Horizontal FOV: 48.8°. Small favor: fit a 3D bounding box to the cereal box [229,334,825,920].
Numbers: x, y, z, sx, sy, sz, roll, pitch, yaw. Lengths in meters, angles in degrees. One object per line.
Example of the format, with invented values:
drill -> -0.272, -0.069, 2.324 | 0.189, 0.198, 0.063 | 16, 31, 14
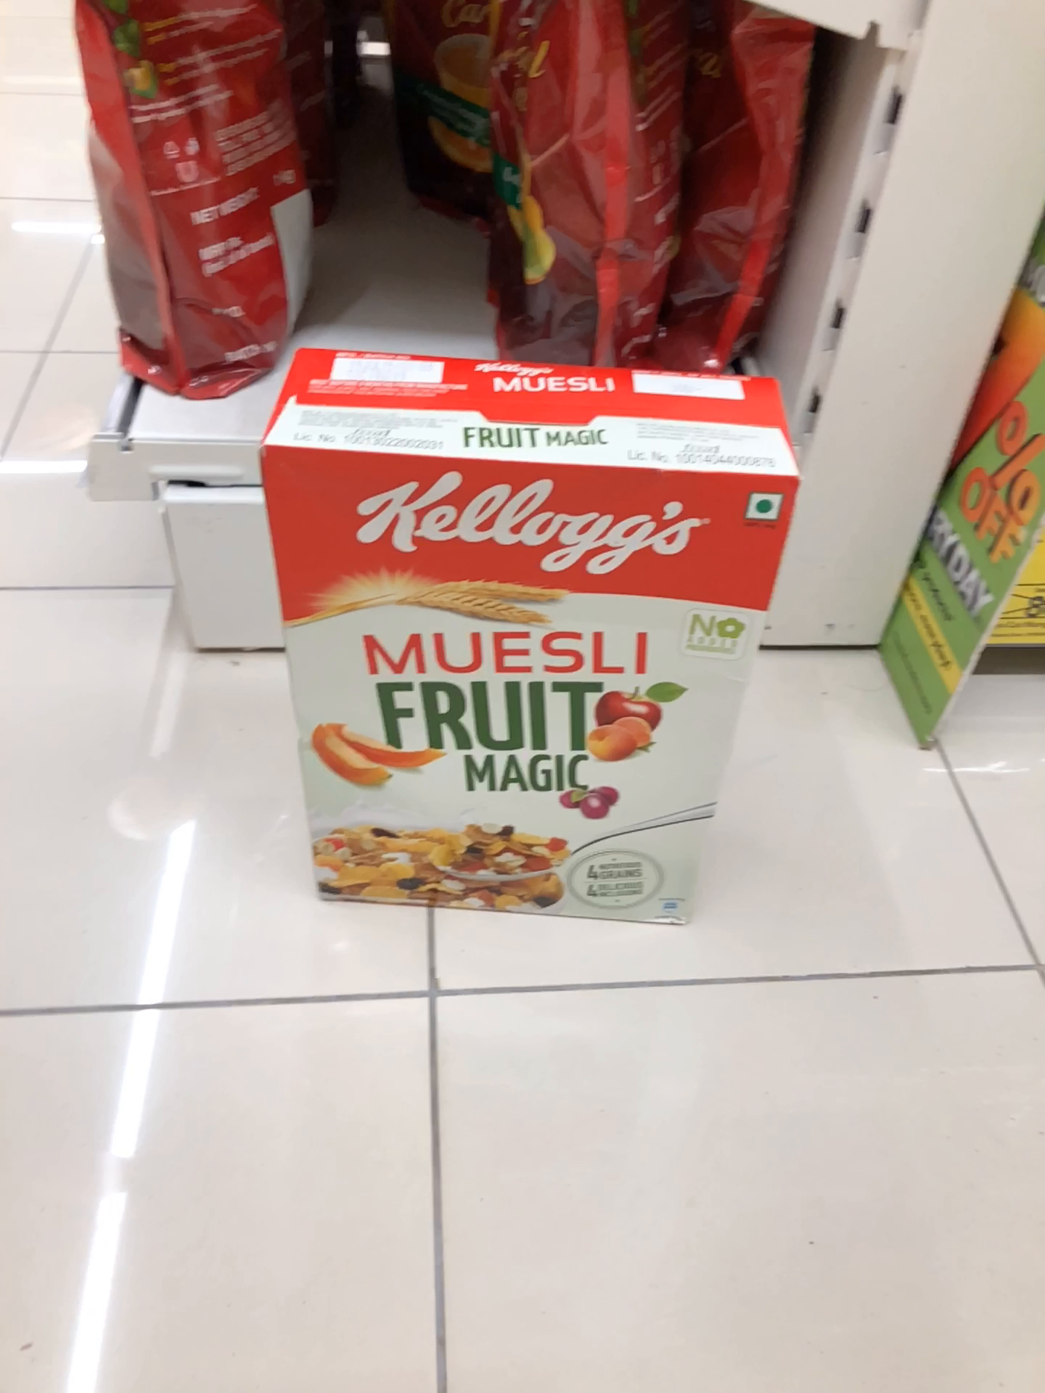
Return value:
cereal box -> -0.001, -0.015, 0.479 | 0.190, 0.238, 0.081 | 3, 44, 0
